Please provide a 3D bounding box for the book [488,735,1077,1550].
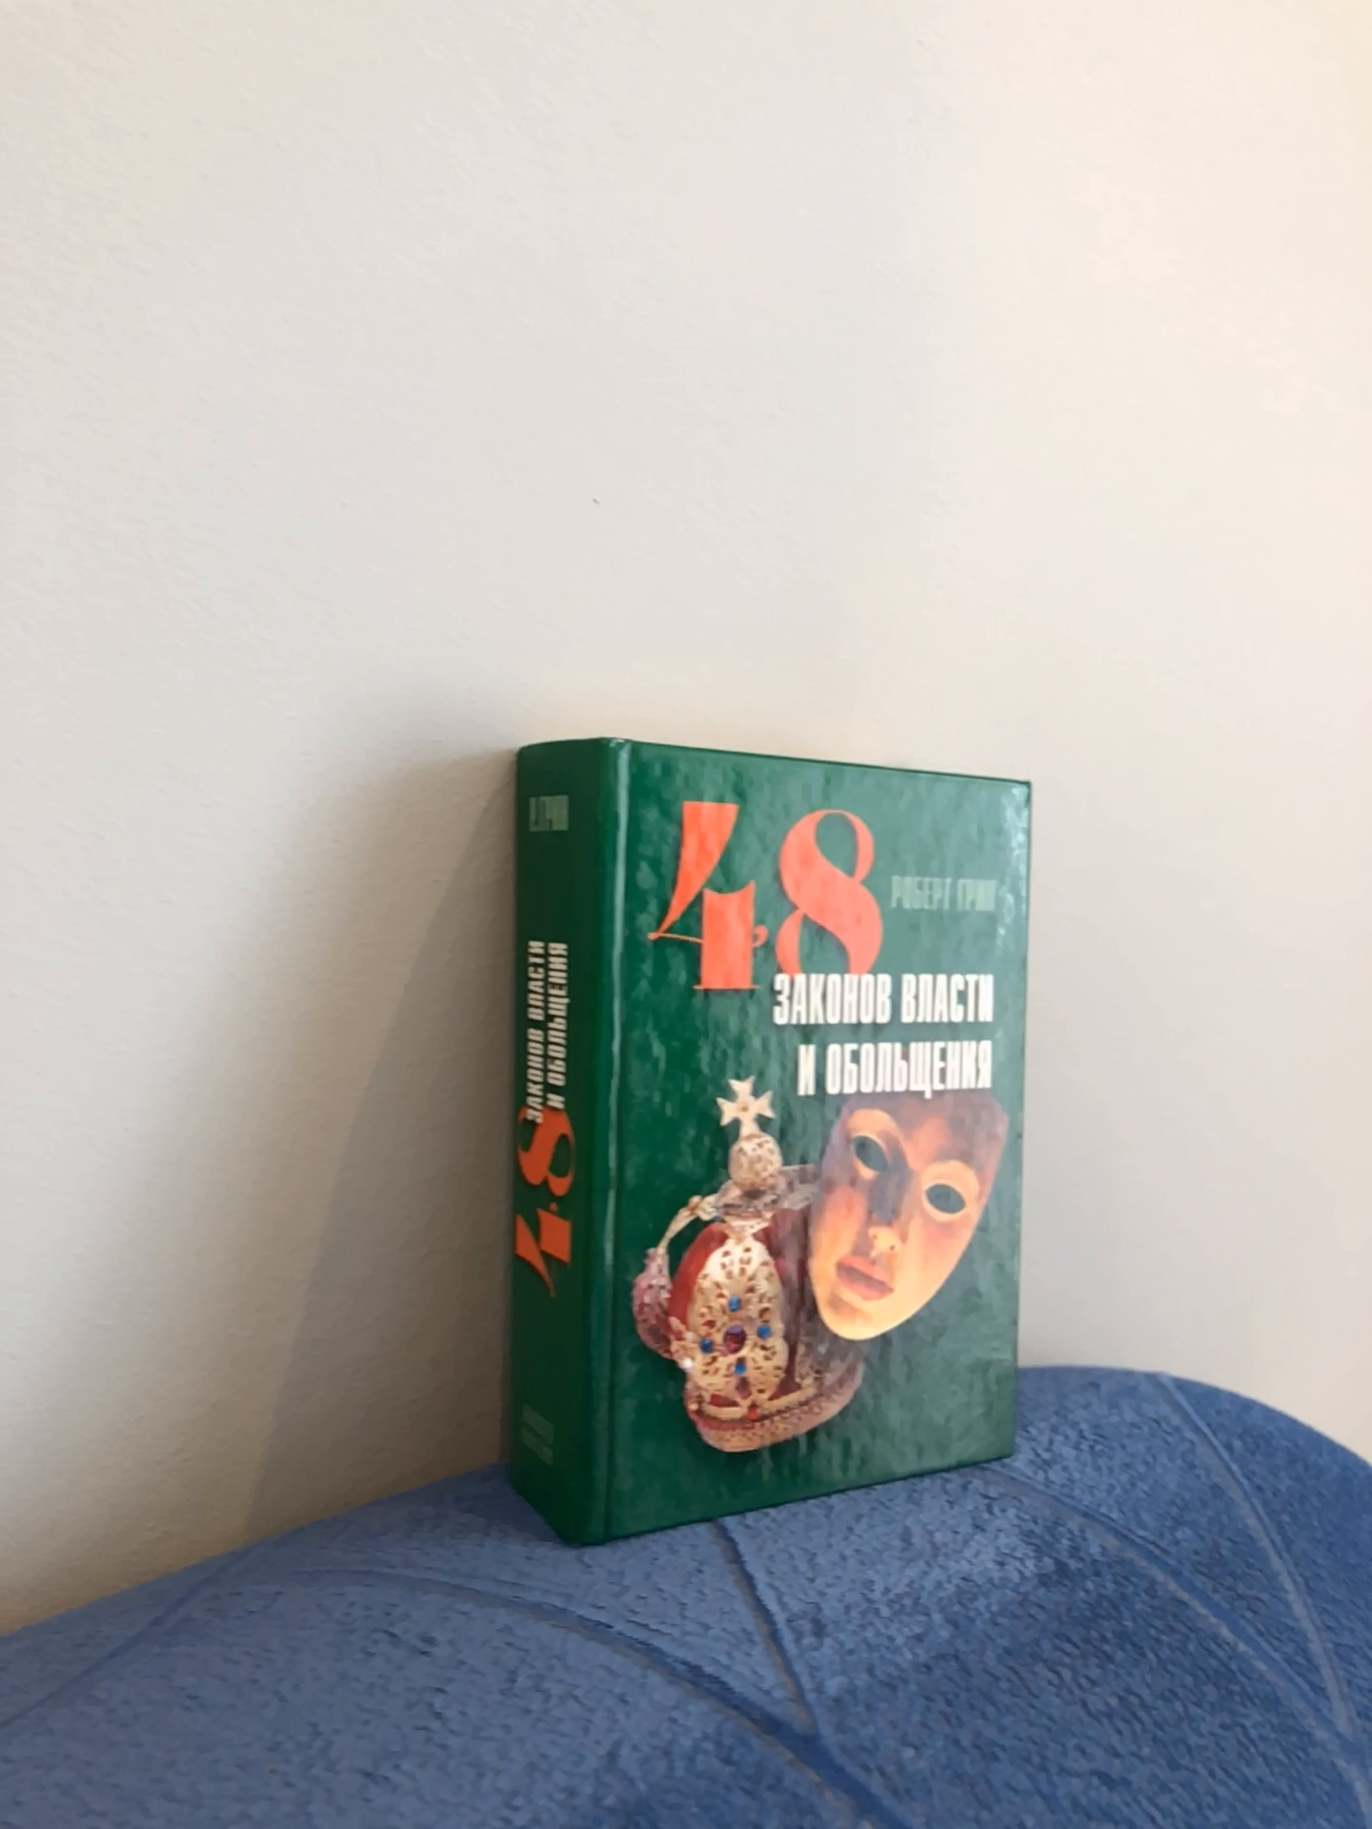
[{"bbox_3d":[0.020,0.039,0.311,0.107,0.141,0.050,0,1,-28],"label":"book"}]
